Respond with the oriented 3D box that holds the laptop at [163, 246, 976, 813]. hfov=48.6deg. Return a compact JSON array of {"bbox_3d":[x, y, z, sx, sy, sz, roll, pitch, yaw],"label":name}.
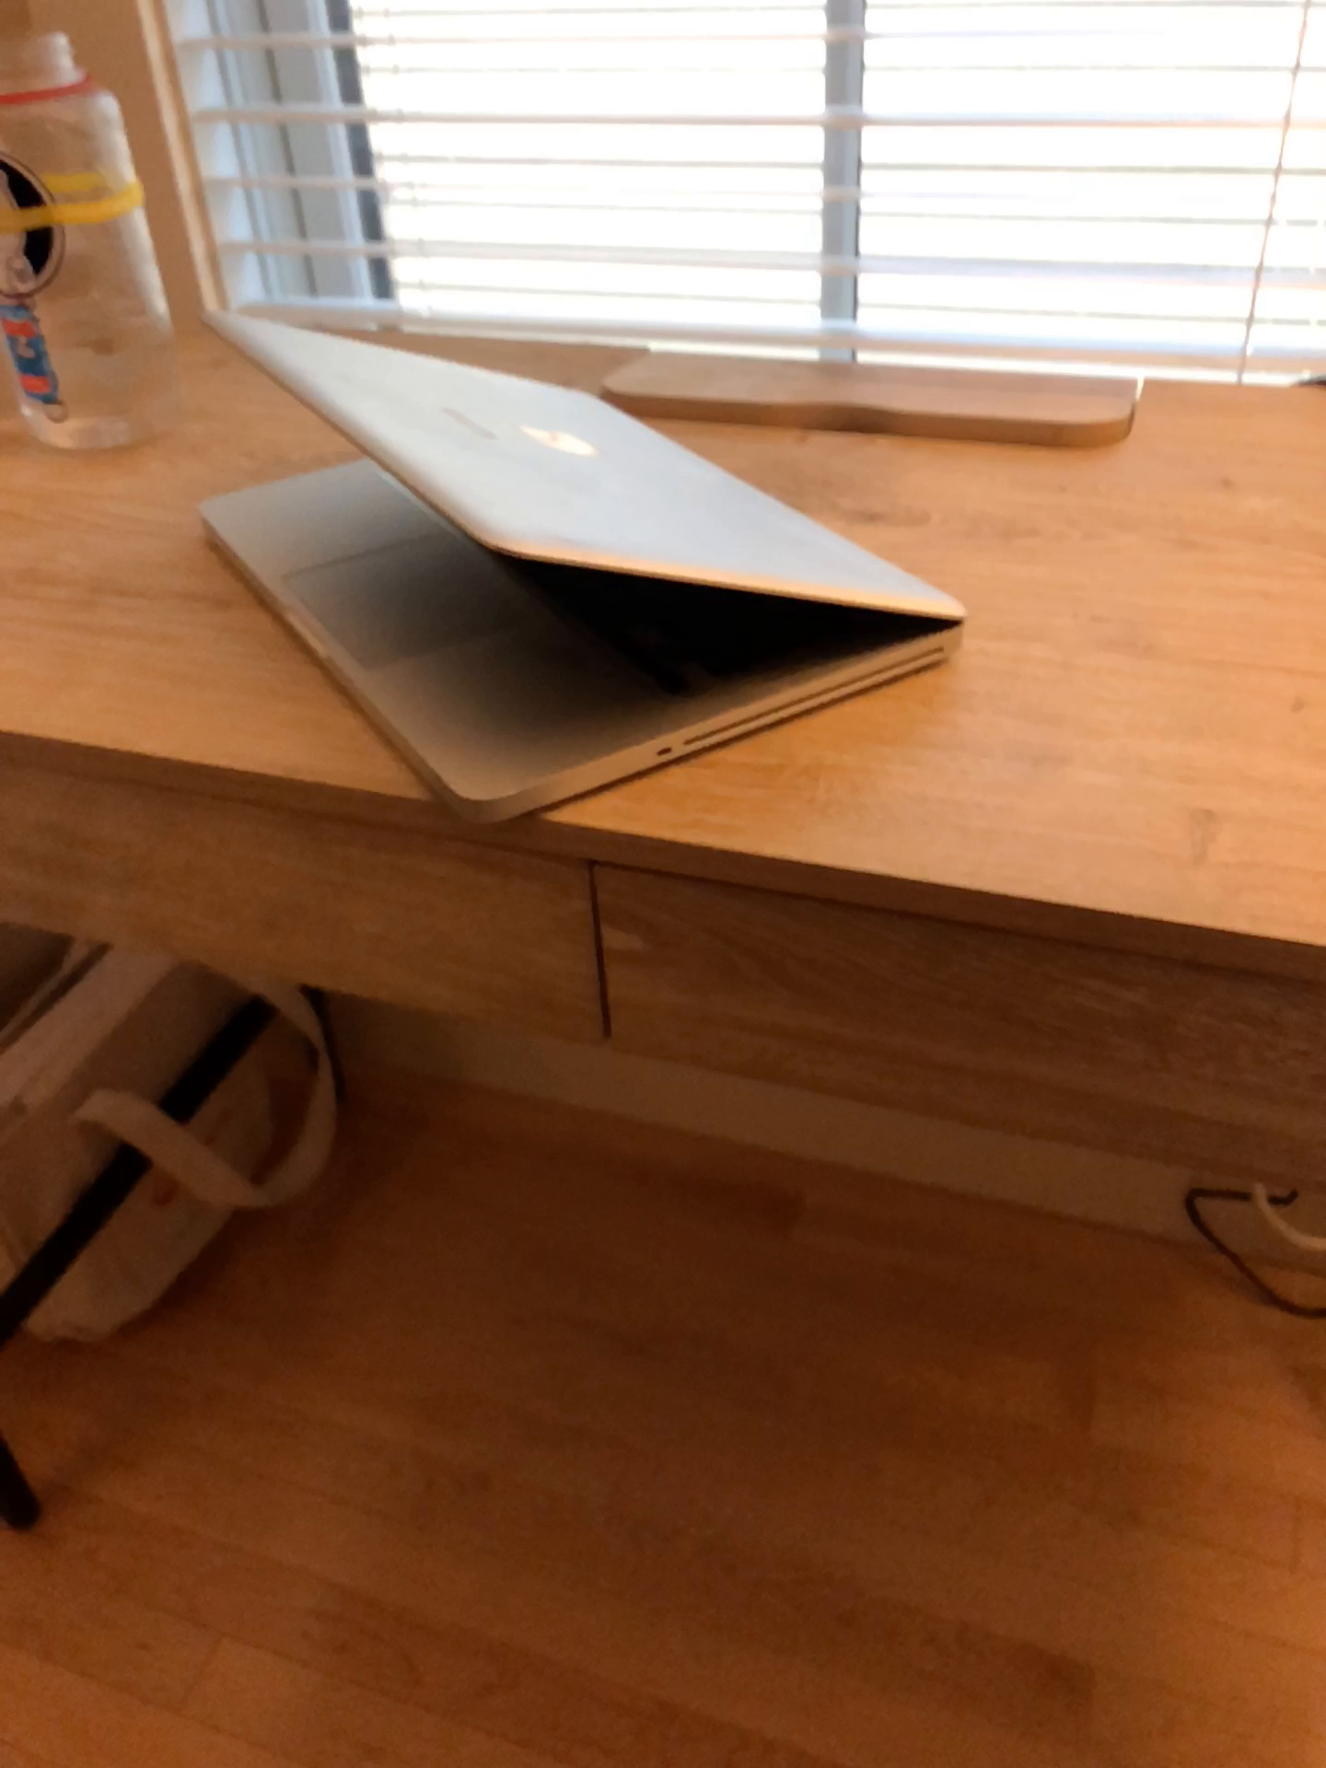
[{"bbox_3d":[-0.053,-0.170,0.606,0.209,0.082,0.301,-22,41,-22],"label":"laptop"}]
